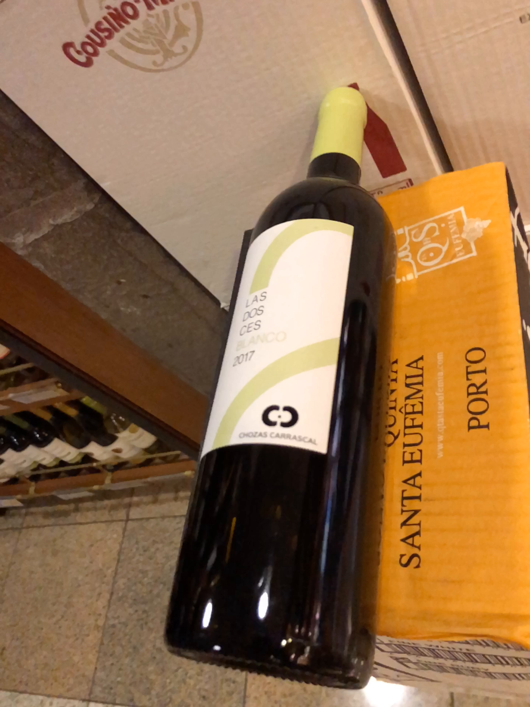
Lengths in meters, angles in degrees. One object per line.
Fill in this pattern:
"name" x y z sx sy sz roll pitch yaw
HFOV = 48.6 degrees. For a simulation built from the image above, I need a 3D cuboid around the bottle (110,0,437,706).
"bottle" 0.025 -0.028 0.276 0.090 0.070 0.321 -9 57 30
